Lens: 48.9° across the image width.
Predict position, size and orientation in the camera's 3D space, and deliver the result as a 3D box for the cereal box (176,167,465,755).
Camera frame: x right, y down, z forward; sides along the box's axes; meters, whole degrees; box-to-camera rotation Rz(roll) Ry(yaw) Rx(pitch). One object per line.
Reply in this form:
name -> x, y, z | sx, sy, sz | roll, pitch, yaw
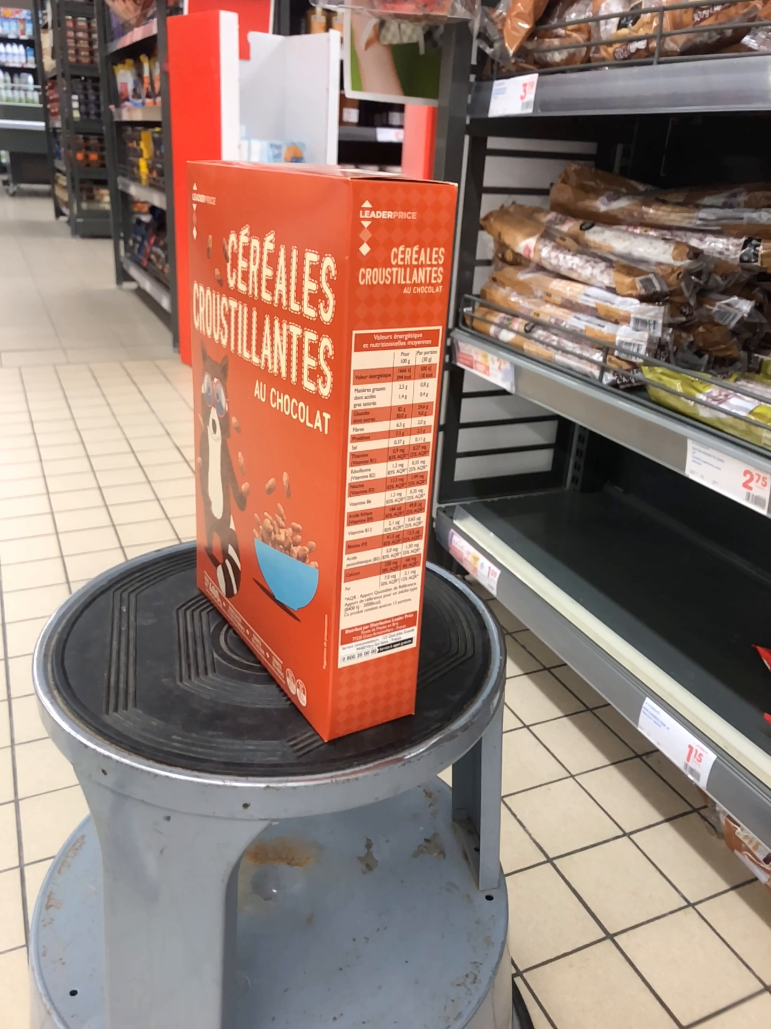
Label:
cereal box -> -0.048, -0.041, 0.454 | 0.060, 0.259, 0.190 | -10, 26, -29
